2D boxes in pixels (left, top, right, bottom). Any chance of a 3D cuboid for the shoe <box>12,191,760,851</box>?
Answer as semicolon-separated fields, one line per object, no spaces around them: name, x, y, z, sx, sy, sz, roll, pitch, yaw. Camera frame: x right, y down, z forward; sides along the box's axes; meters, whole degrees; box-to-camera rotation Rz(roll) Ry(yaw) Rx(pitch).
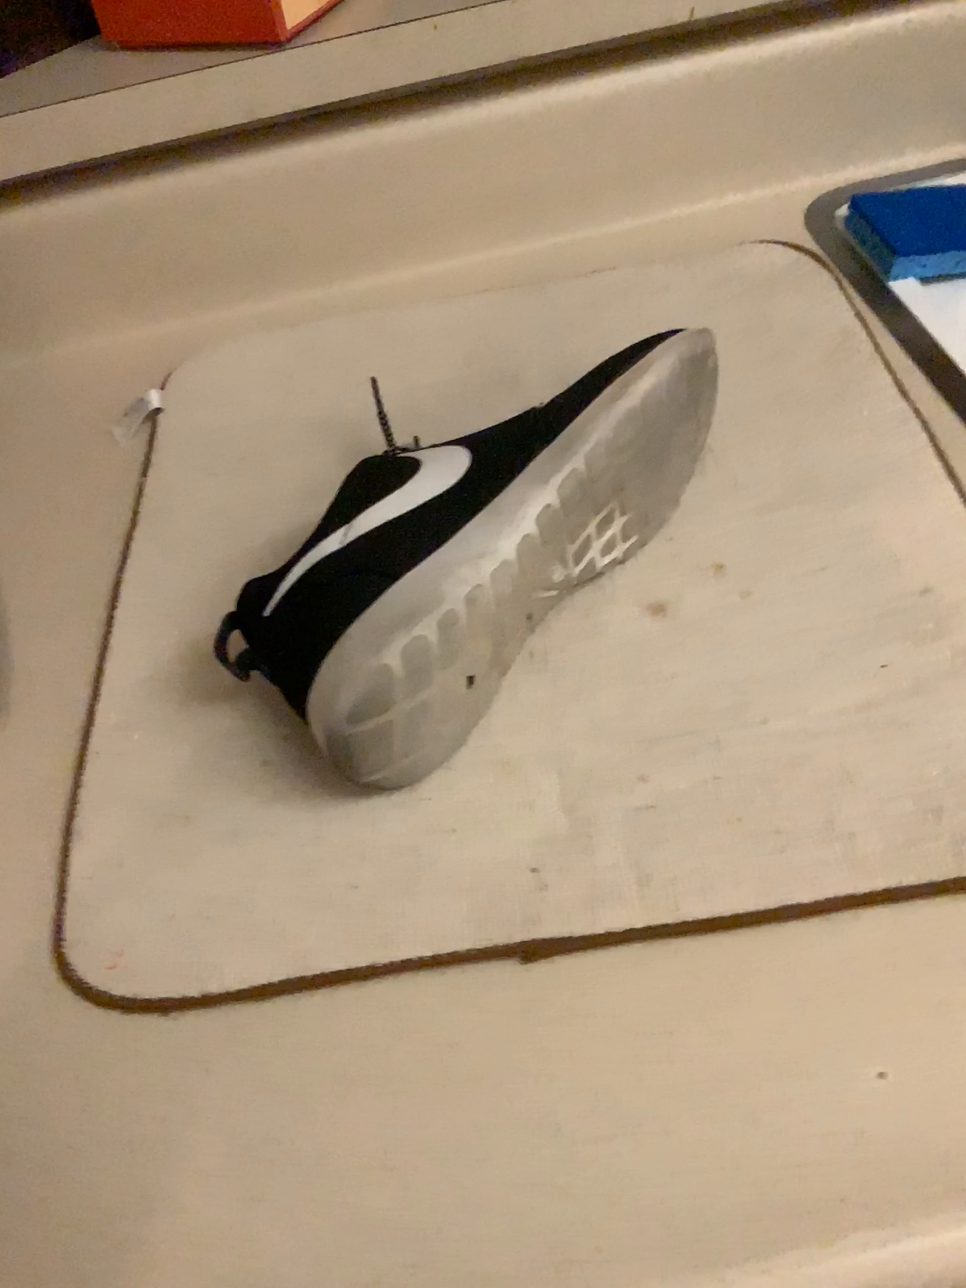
shoe;-0.027;-0.076;0.482;0.180;0.100;0.270;27;59;30
